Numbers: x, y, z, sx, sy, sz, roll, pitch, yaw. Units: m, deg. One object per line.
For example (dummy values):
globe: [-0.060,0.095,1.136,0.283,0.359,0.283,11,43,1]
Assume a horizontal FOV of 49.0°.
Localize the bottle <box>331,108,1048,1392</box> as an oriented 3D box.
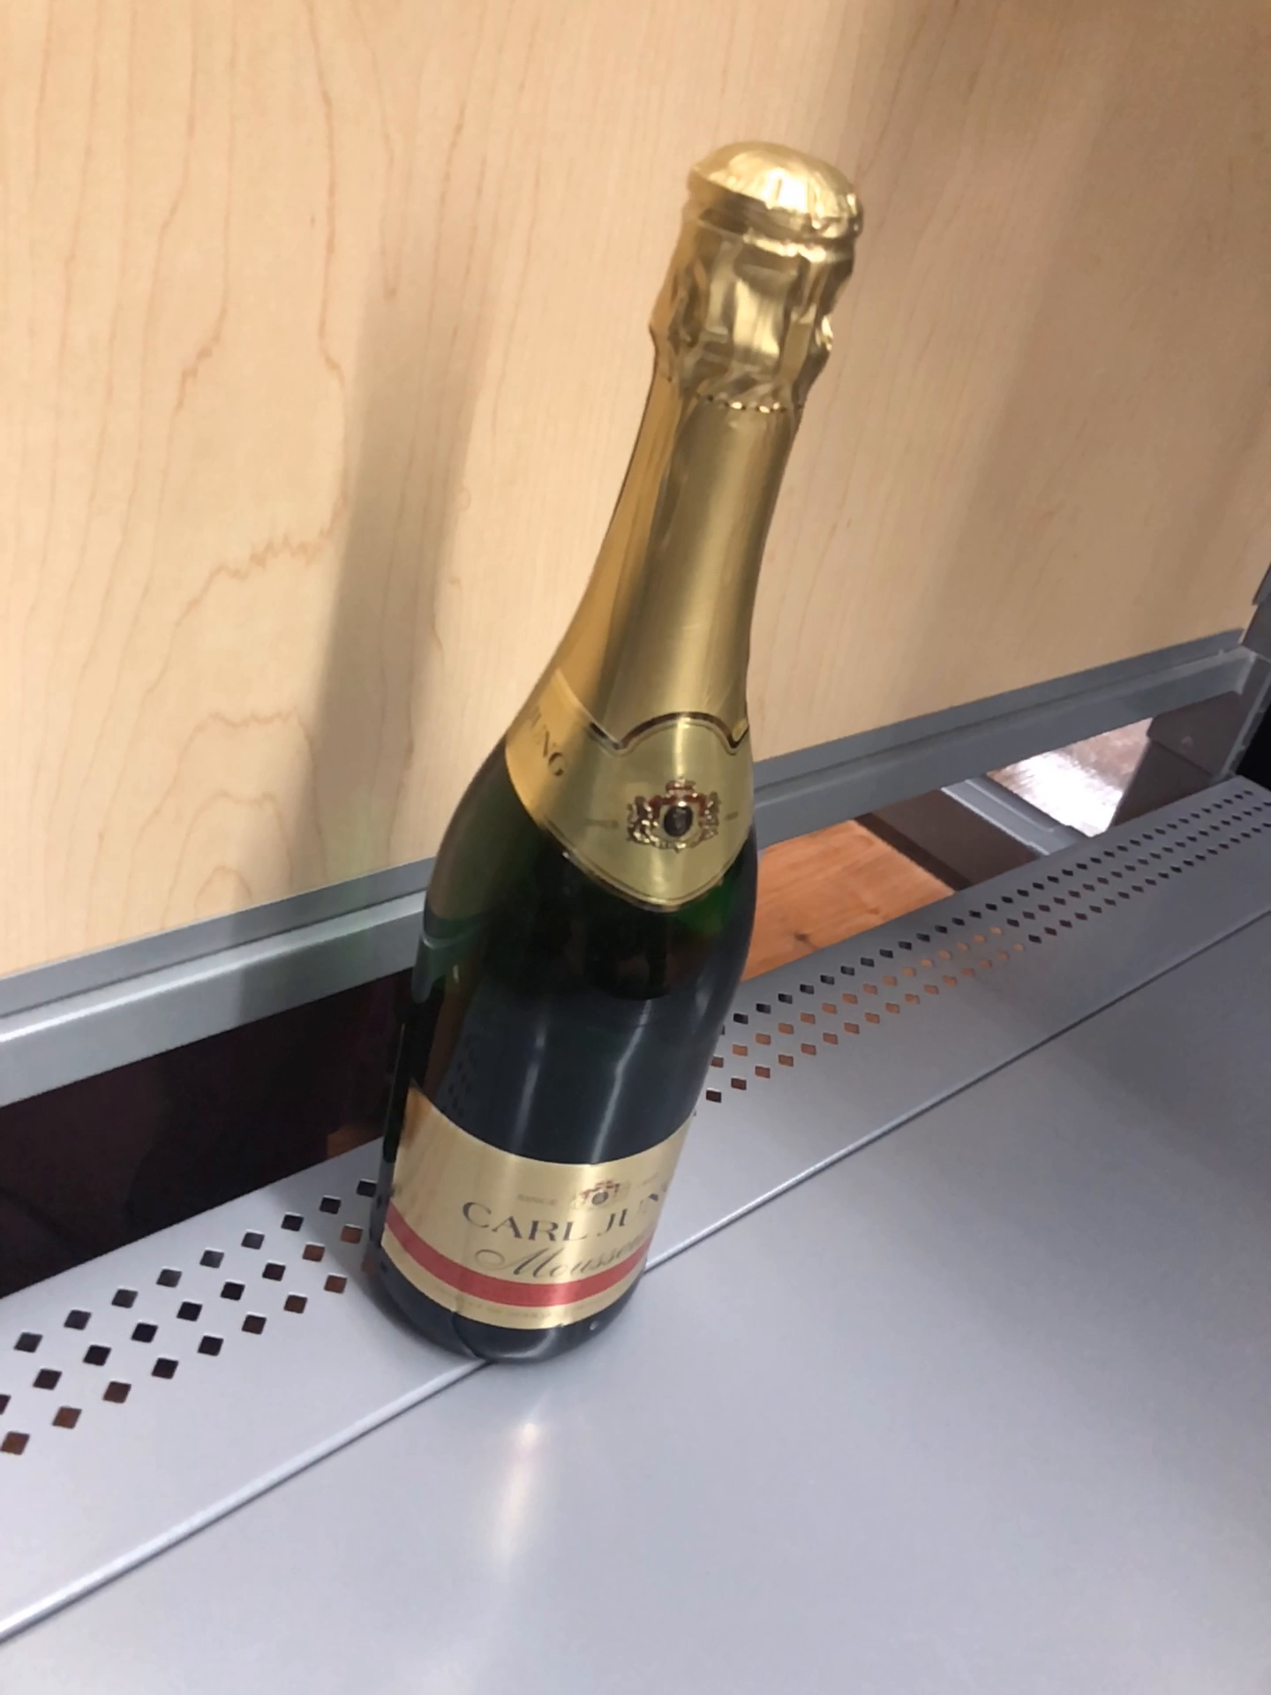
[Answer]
bottle: [-0.013,-0.001,0.343,0.090,0.298,0.091,10,33,-7]
